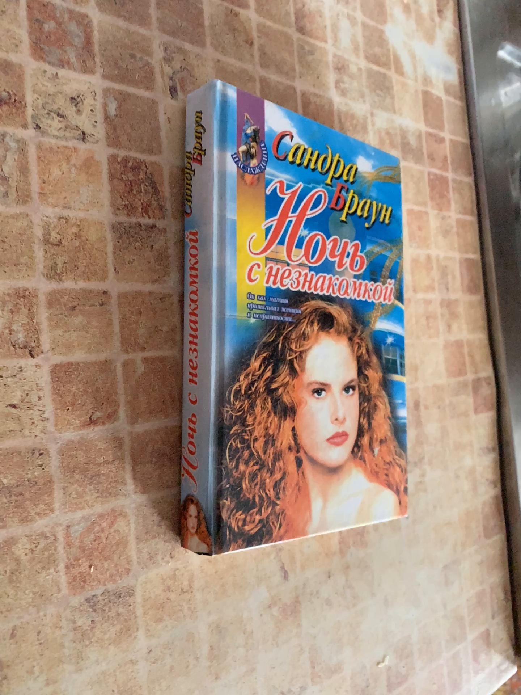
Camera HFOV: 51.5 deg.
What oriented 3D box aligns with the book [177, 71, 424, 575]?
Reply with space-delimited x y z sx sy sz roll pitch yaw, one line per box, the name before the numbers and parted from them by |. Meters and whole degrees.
book | 0.025 -0.010 0.262 0.131 0.029 0.197 4 83 -38
